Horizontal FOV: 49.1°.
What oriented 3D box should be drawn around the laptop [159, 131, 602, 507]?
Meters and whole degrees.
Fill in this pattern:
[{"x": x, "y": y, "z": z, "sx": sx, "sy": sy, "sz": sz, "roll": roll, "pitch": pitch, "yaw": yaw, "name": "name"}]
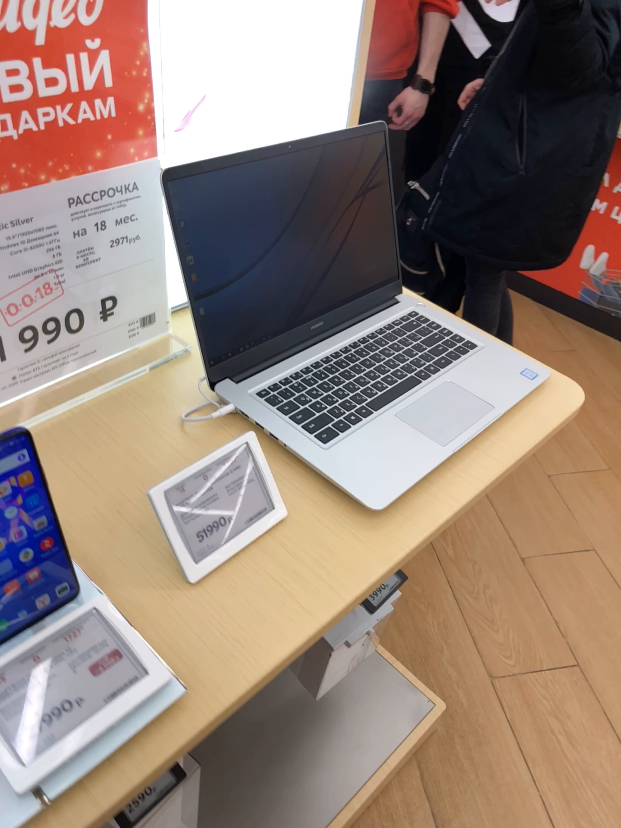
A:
[{"x": 0.071, "y": -0.136, "z": 0.741, "sx": 0.306, "sy": 0.204, "sz": 0.341, "roll": 34, "pitch": 45, "yaw": 28, "name": "laptop"}]
